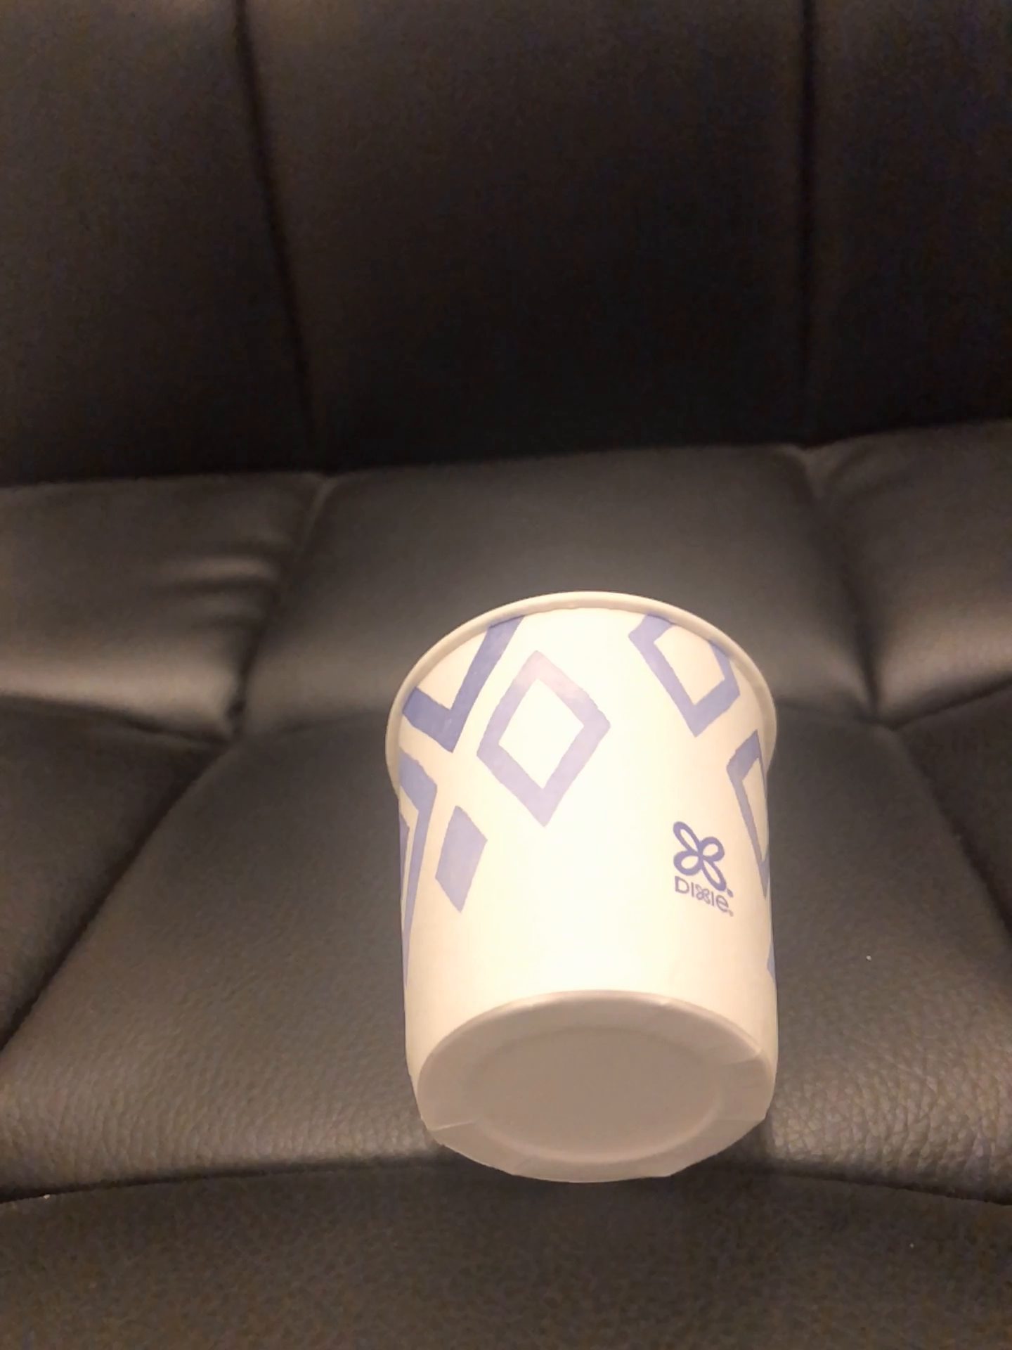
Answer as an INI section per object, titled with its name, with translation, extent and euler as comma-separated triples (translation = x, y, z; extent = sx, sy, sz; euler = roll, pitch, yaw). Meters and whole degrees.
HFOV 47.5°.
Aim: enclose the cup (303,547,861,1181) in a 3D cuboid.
[cup]
translation = 0.010, 0.023, 0.145
extent = 0.052, 0.049, 0.058
euler = -4, 41, 6
